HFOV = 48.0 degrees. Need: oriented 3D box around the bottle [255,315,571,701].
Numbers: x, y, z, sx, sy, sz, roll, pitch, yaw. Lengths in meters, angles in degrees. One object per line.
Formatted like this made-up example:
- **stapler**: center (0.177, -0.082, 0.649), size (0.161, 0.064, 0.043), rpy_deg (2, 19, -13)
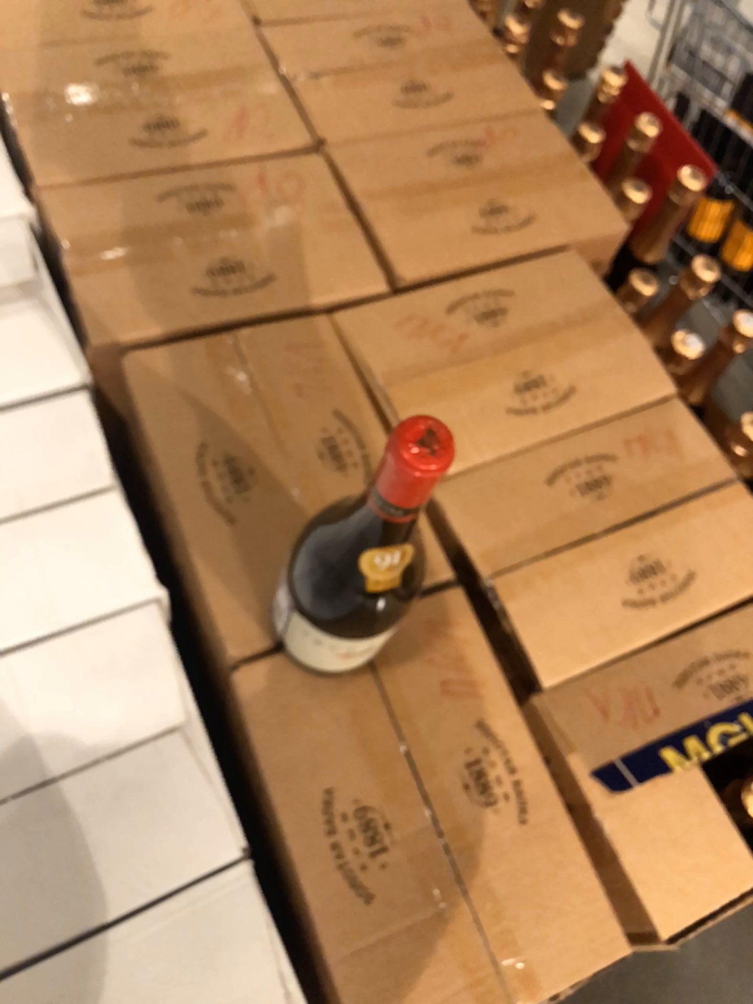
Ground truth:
- **bottle**: center (-0.001, 0.022, 0.502), size (0.100, 0.269, 0.100), rpy_deg (5, 61, -10)
